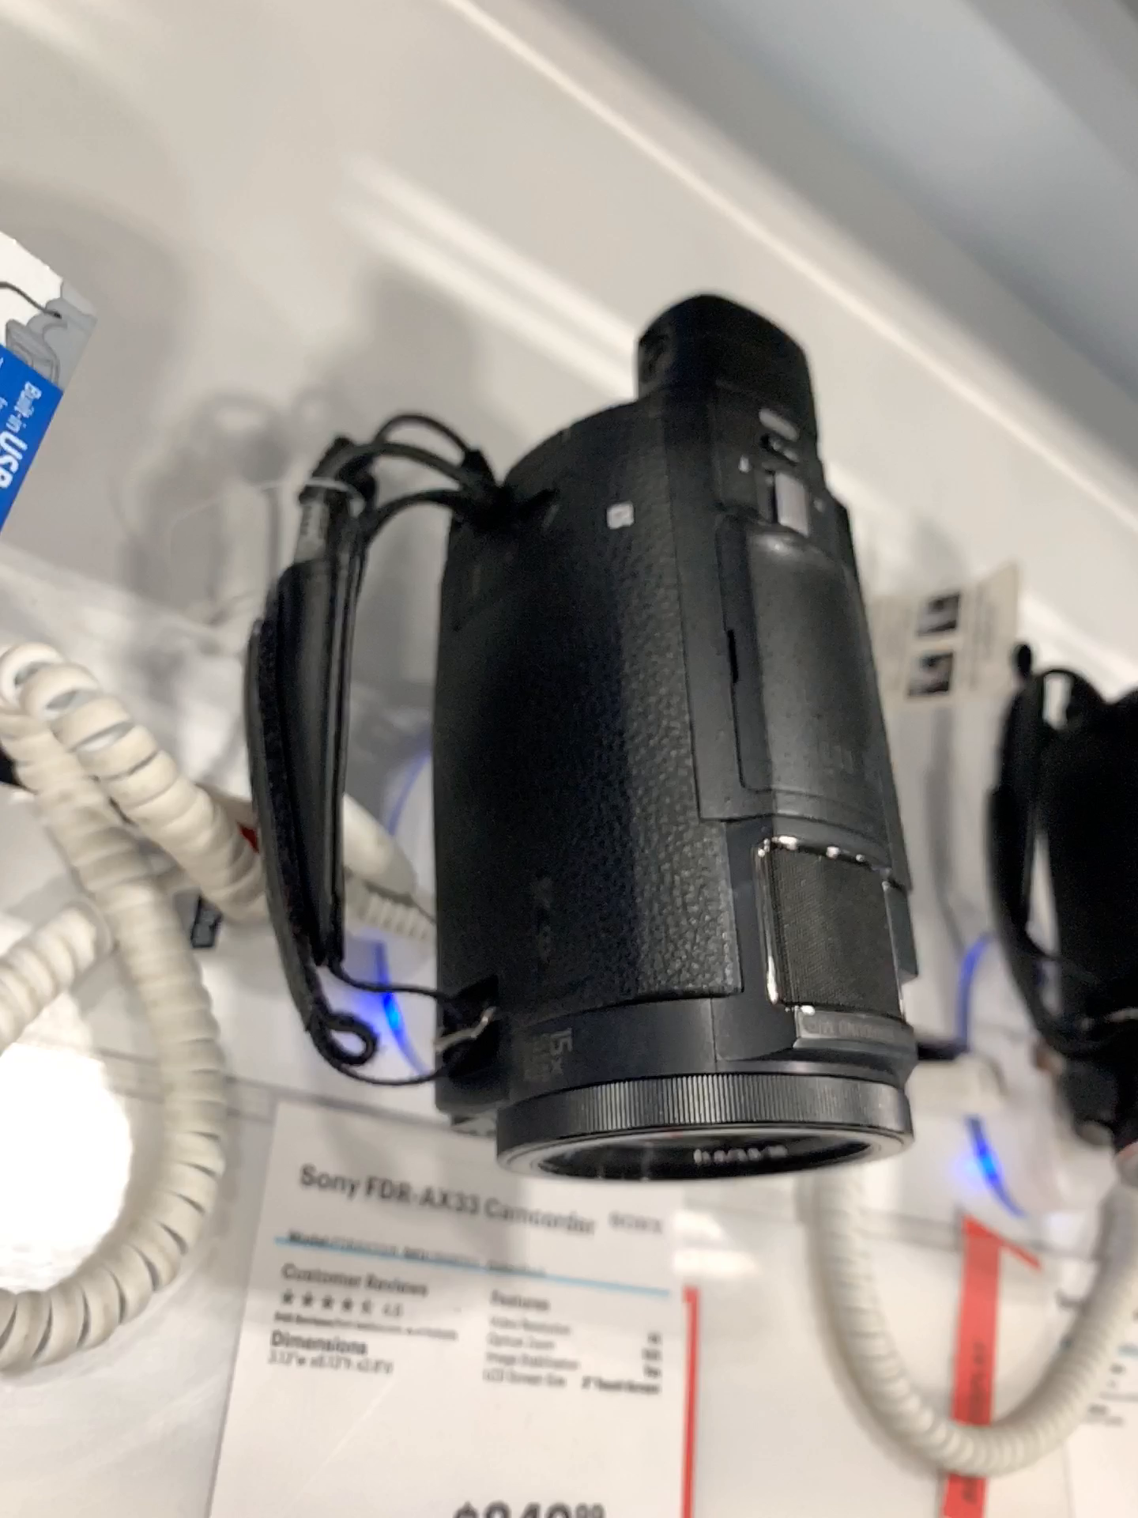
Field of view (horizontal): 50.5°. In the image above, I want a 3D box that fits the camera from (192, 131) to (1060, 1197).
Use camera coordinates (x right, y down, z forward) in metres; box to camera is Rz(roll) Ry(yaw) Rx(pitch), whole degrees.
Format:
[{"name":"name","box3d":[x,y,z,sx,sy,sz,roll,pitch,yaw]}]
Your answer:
[{"name":"camera","box3d":[0.010,-0.005,0.199,0.103,0.067,0.136,18,59,-34]}]
